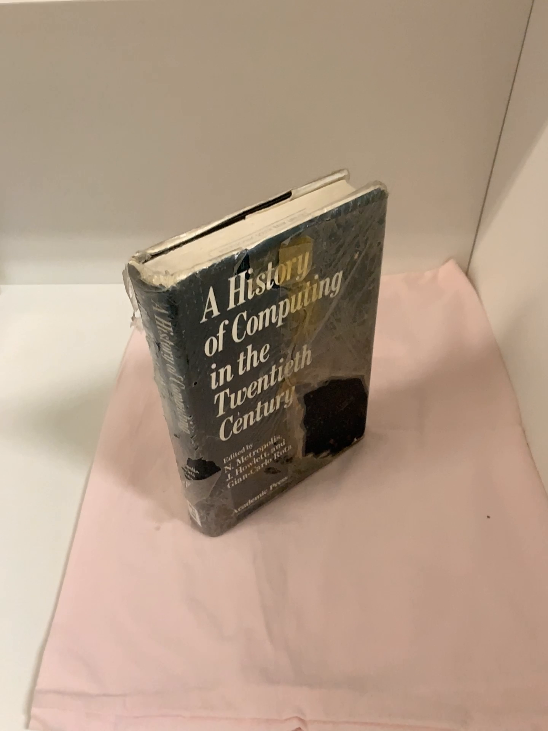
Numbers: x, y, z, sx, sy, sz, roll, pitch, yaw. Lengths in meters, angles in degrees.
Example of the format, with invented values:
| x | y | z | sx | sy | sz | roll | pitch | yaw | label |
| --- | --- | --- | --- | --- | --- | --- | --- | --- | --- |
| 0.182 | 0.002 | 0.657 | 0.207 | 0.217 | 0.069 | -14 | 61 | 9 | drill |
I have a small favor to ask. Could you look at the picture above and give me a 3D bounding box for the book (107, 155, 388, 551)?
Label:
| x | y | z | sx | sy | sz | roll | pitch | yaw | label |
| --- | --- | --- | --- | --- | --- | --- | --- | --- | --- |
| -0.002 | 0.002 | 0.403 | 0.167 | 0.247 | 0.042 | -29 | 47 | -26 | book |
